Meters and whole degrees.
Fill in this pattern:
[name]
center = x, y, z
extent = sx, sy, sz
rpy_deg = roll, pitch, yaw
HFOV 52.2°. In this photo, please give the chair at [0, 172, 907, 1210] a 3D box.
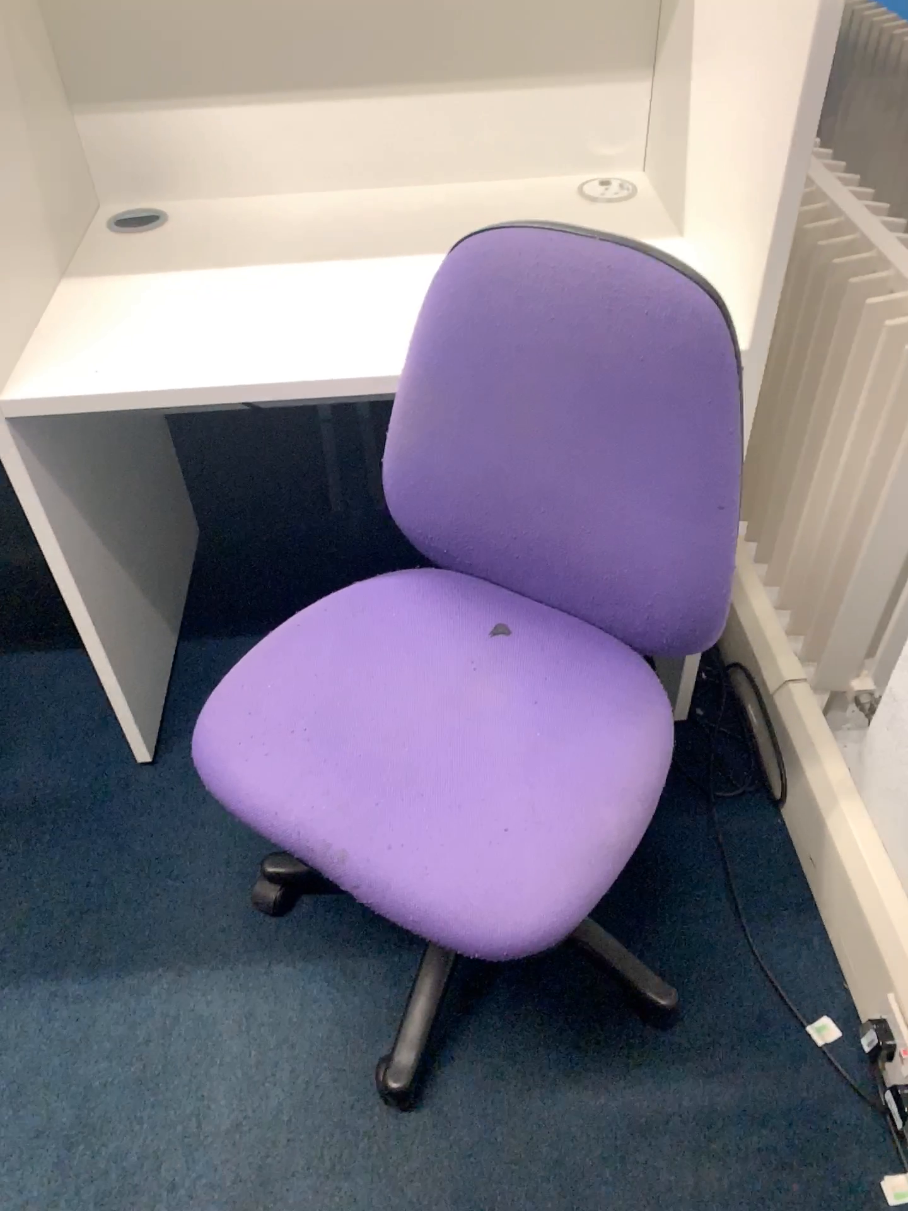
[chair]
center = 0.027, 0.110, 1.073
extent = 0.692, 0.862, 0.654
rpy_deg = 25, 50, 26
